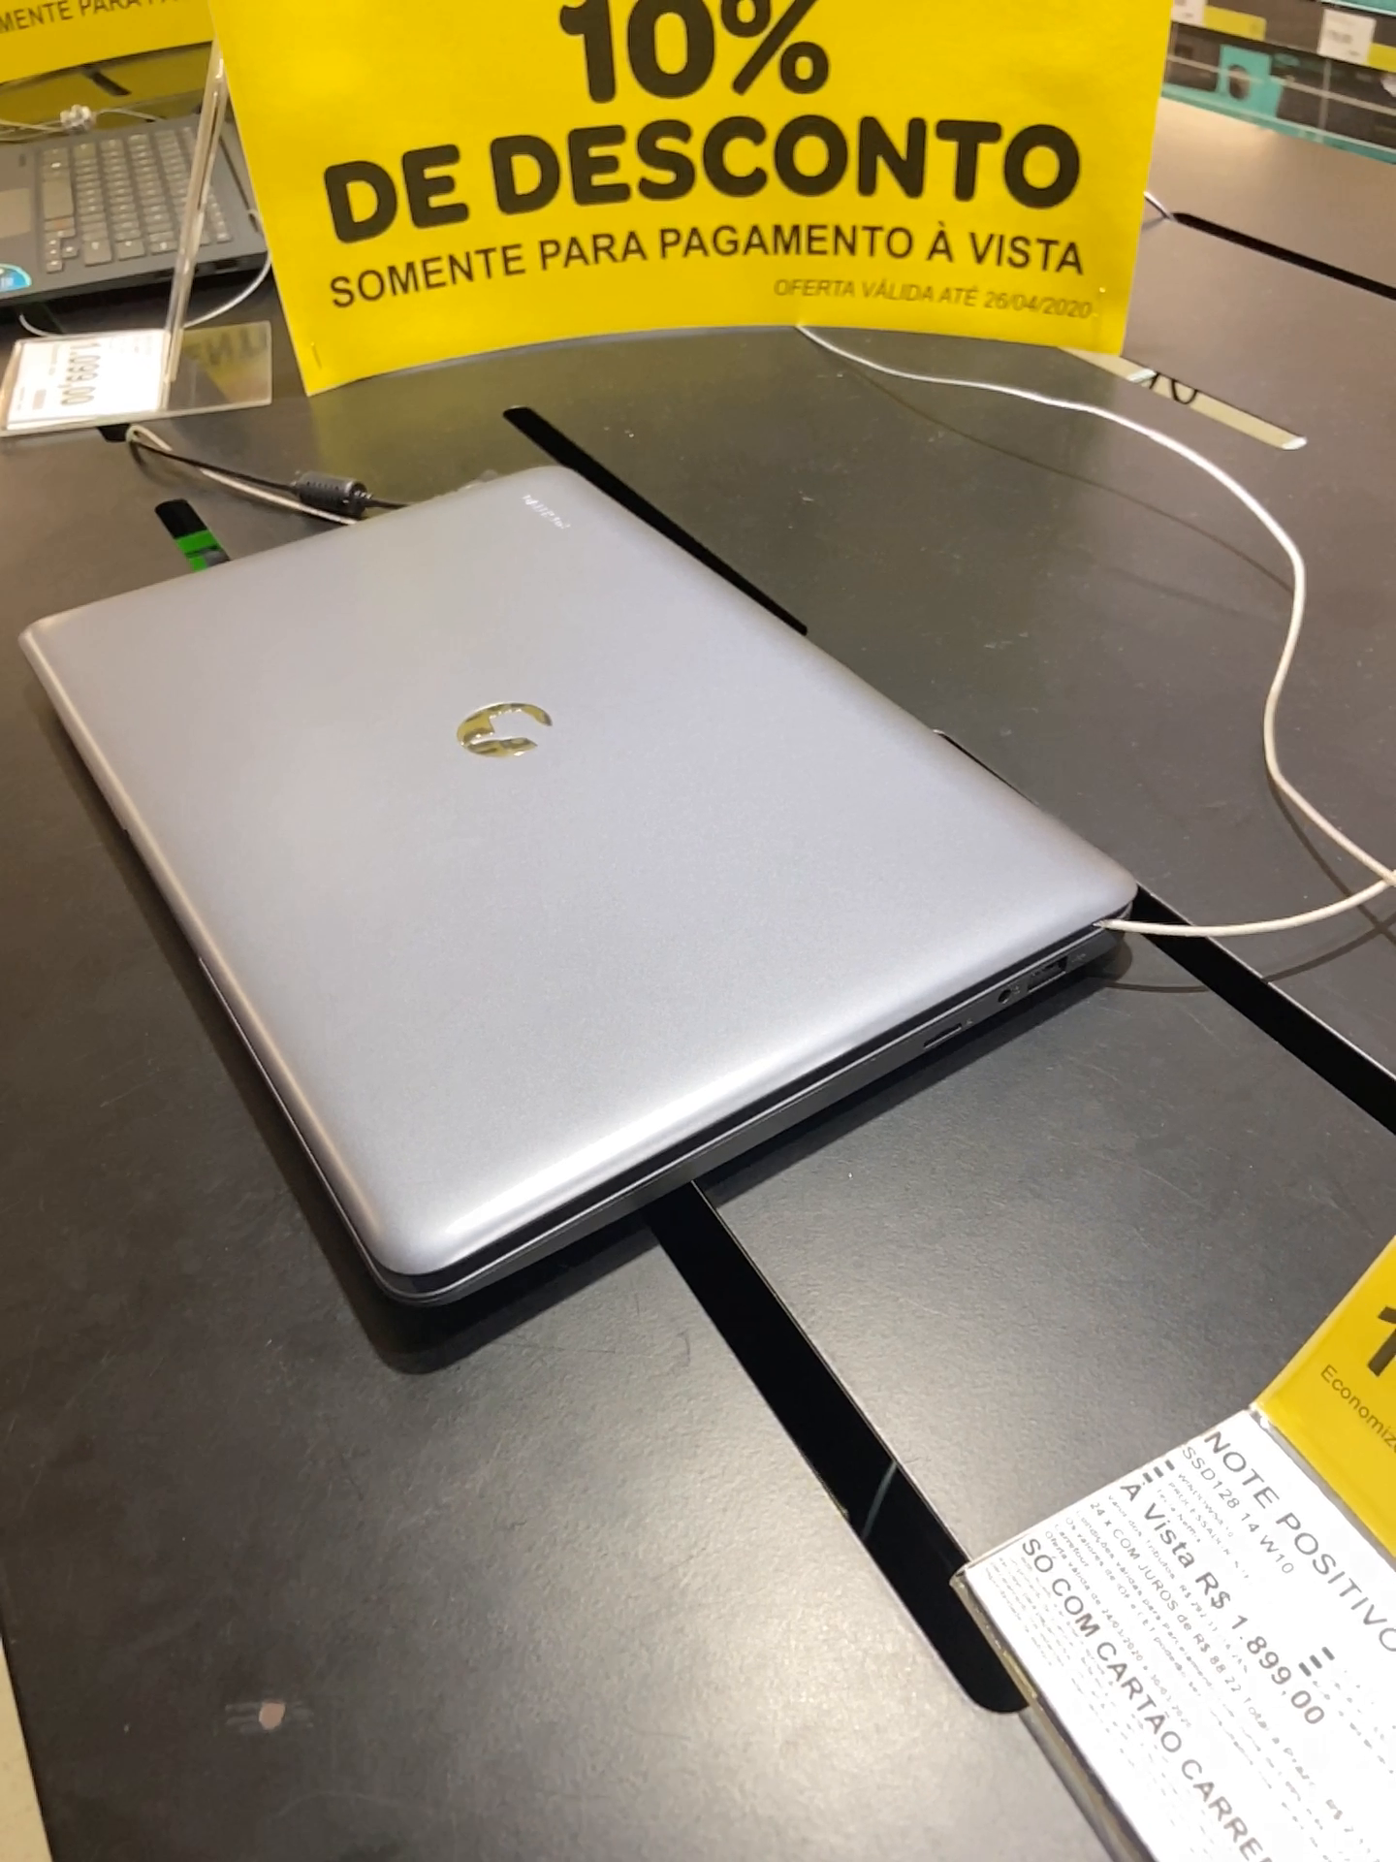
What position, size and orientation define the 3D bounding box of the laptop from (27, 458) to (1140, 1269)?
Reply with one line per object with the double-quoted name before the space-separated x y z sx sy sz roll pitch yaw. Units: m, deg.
"laptop" -0.062 -0.062 0.448 0.213 0.001 0.331 -25 46 -21
